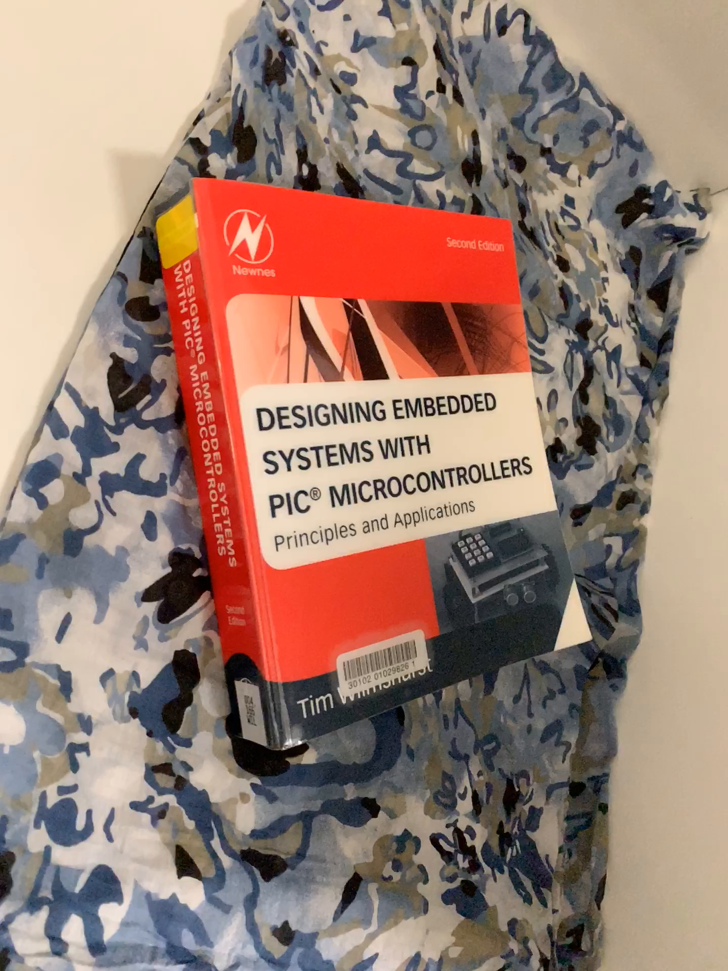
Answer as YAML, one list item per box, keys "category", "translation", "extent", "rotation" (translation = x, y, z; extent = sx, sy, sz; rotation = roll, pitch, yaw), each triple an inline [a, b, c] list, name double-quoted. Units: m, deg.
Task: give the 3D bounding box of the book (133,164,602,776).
- category: "book"
  translation: [0.016, -0.017, 0.369]
  extent: [0.210, 0.050, 0.237]
  rotation: [-9, 90, -37]
